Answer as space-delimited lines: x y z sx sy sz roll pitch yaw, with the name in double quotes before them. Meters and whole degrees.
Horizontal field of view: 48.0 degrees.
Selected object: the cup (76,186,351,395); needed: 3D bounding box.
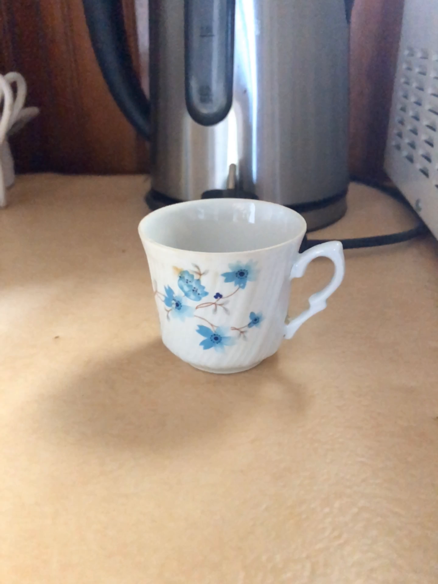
"cup" 0.003 -0.007 0.204 0.090 0.050 0.070 8 28 17
